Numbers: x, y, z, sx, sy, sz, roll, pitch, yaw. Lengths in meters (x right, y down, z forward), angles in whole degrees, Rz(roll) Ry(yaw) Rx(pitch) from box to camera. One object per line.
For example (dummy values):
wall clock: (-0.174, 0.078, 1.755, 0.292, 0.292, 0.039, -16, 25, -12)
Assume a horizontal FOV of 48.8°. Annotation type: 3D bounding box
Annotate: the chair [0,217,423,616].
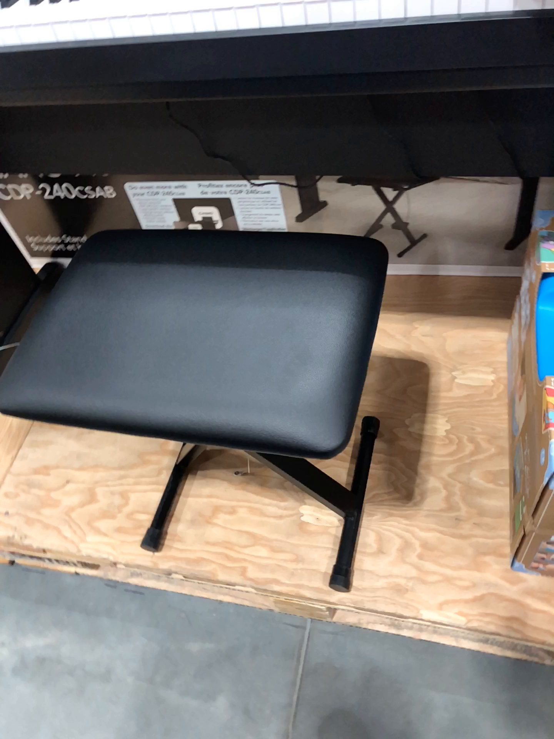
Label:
chair: (-0.093, 0.040, 0.796, 0.510, 0.279, 0.371, 6, 55, 17)
